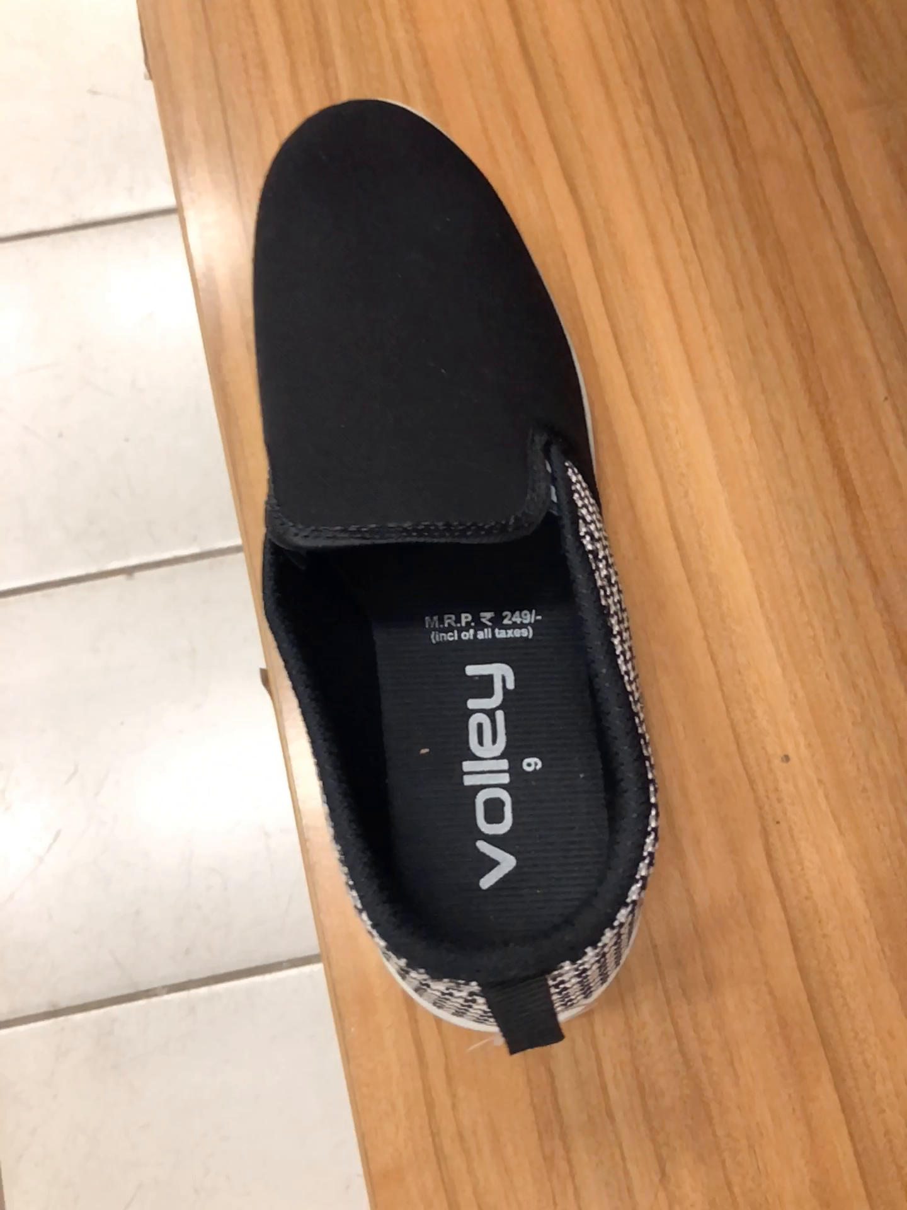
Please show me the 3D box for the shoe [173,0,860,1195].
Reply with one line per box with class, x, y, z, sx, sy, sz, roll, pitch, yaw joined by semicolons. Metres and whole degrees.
shoe;0.003;-0.026;0.269;0.100;0.090;0.290;-10;76;-3
